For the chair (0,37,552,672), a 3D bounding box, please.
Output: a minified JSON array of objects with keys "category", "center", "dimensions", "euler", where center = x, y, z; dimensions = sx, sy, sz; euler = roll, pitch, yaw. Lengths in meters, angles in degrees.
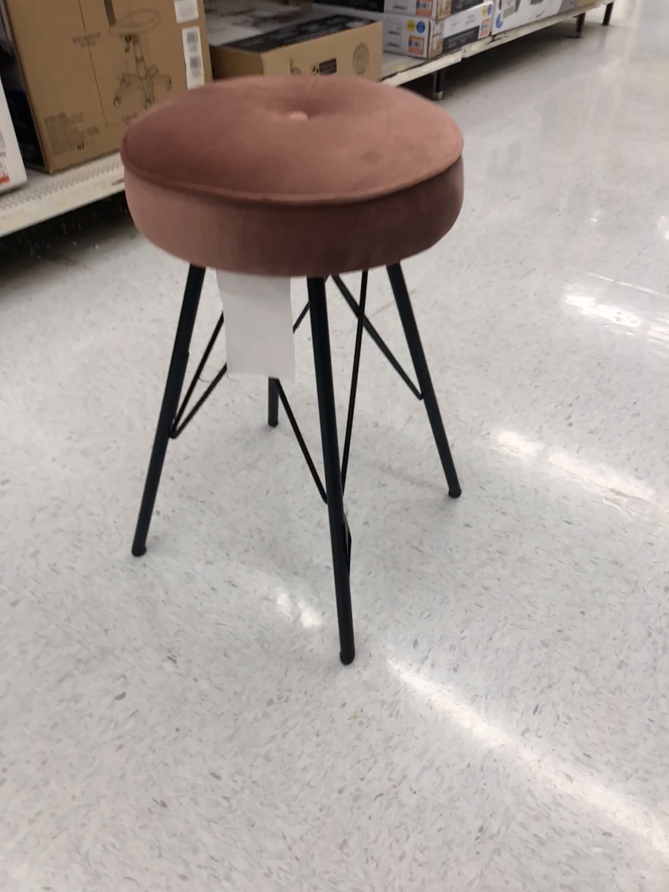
[{"category":"chair","center":[-0.045,-0.112,0.803],"dimensions":[0.361,0.498,0.351],"euler":[22,44,24]}]
